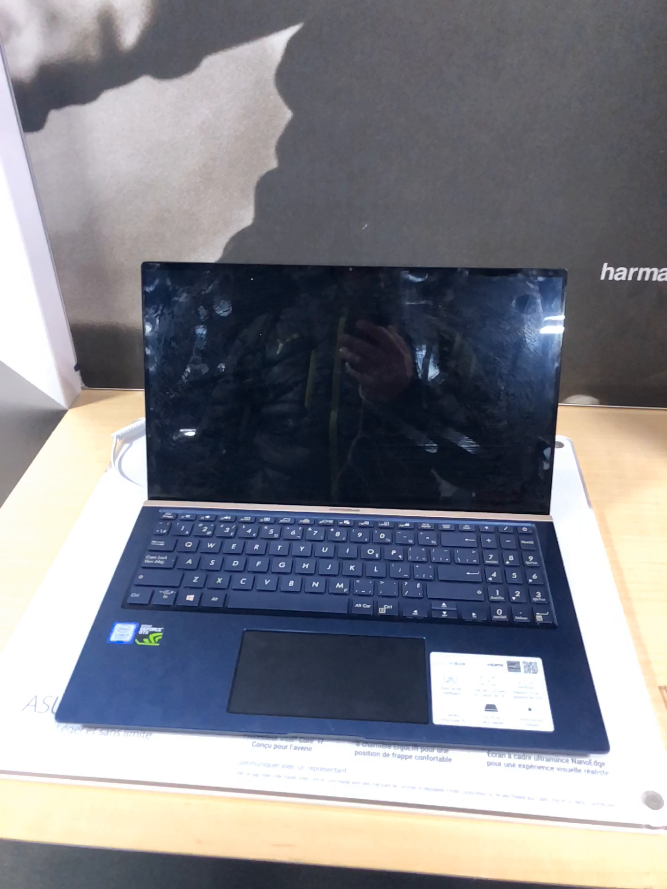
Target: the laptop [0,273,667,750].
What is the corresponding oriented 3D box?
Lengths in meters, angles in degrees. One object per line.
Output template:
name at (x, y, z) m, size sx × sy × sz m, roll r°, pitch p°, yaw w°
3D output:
laptop at (0.005, 0.019, 0.508) m, size 0.330 × 0.173 × 0.294 m, roll 2°, pitch 35°, yaw 5°
